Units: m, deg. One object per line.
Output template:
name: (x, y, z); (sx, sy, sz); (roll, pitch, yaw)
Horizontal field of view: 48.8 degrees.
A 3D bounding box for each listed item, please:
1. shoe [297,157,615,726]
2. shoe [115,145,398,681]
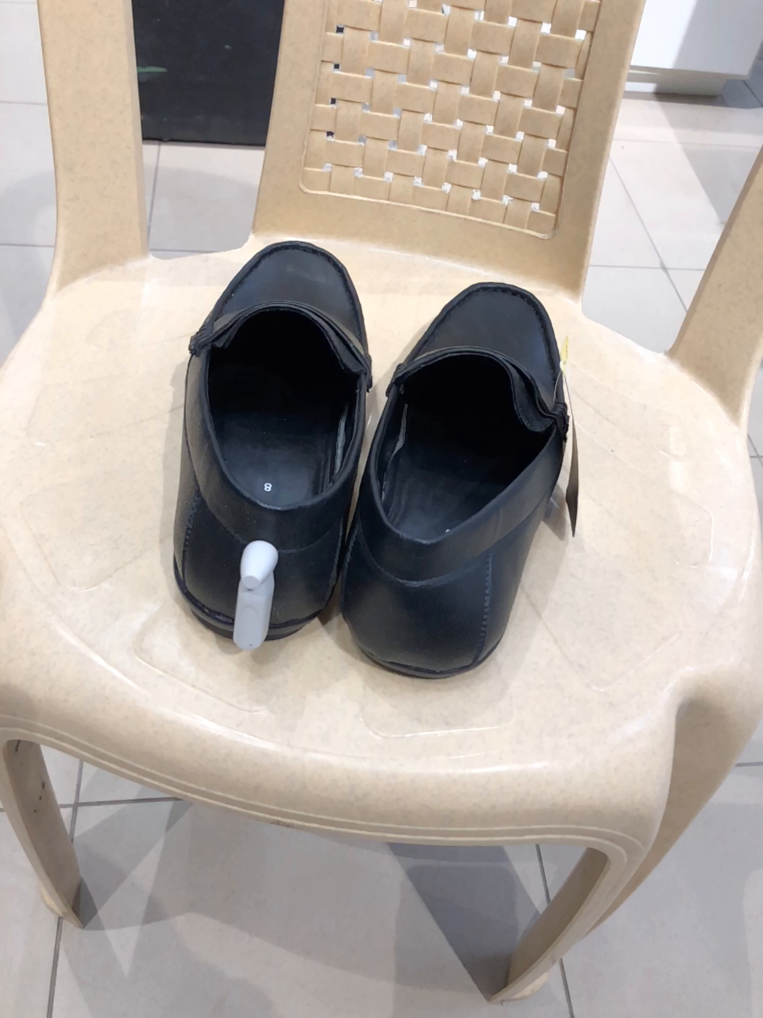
shoe: (0.047, -0.052, 0.417); (0.100, 0.088, 0.284); (13, 52, 3)
shoe: (-0.047, -0.063, 0.419); (0.100, 0.088, 0.277); (4, 52, -4)
